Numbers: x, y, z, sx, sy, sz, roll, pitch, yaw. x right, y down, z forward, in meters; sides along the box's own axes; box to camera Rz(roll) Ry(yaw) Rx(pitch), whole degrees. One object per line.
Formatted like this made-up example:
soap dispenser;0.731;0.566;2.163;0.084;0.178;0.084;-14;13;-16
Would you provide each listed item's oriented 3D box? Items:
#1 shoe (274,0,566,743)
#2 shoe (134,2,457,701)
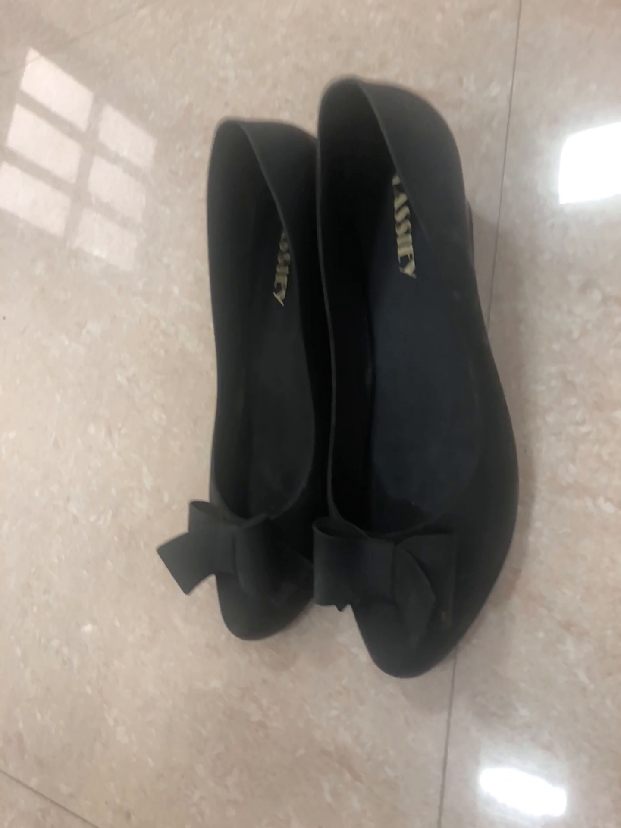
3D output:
shoe;0.058;-0.030;0.323;0.090;0.090;0.310;-2;80;36
shoe;-0.003;-0.030;0.361;0.090;0.090;0.310;4;84;37
